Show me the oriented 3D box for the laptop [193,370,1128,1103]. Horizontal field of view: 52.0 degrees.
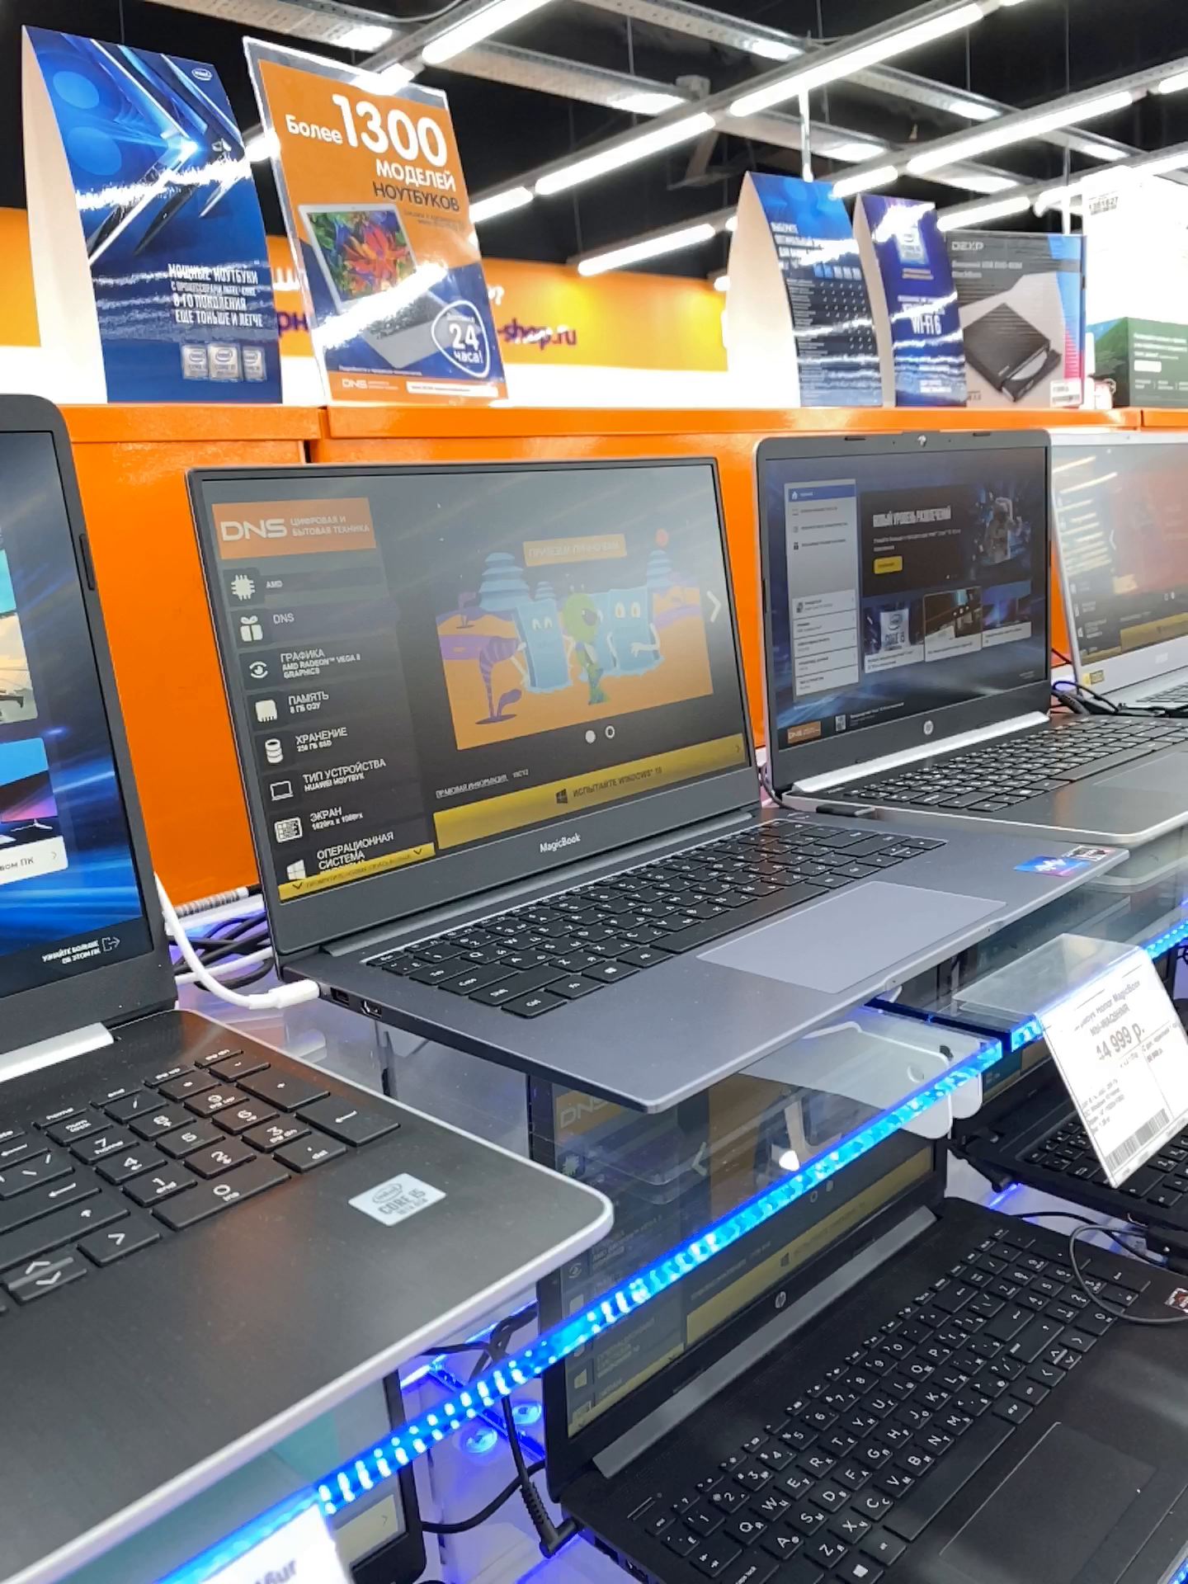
[{"bbox_3d":[0.045,-0.051,0.529,0.323,0.203,0.237,-14,15,-42],"label":"laptop"}]
